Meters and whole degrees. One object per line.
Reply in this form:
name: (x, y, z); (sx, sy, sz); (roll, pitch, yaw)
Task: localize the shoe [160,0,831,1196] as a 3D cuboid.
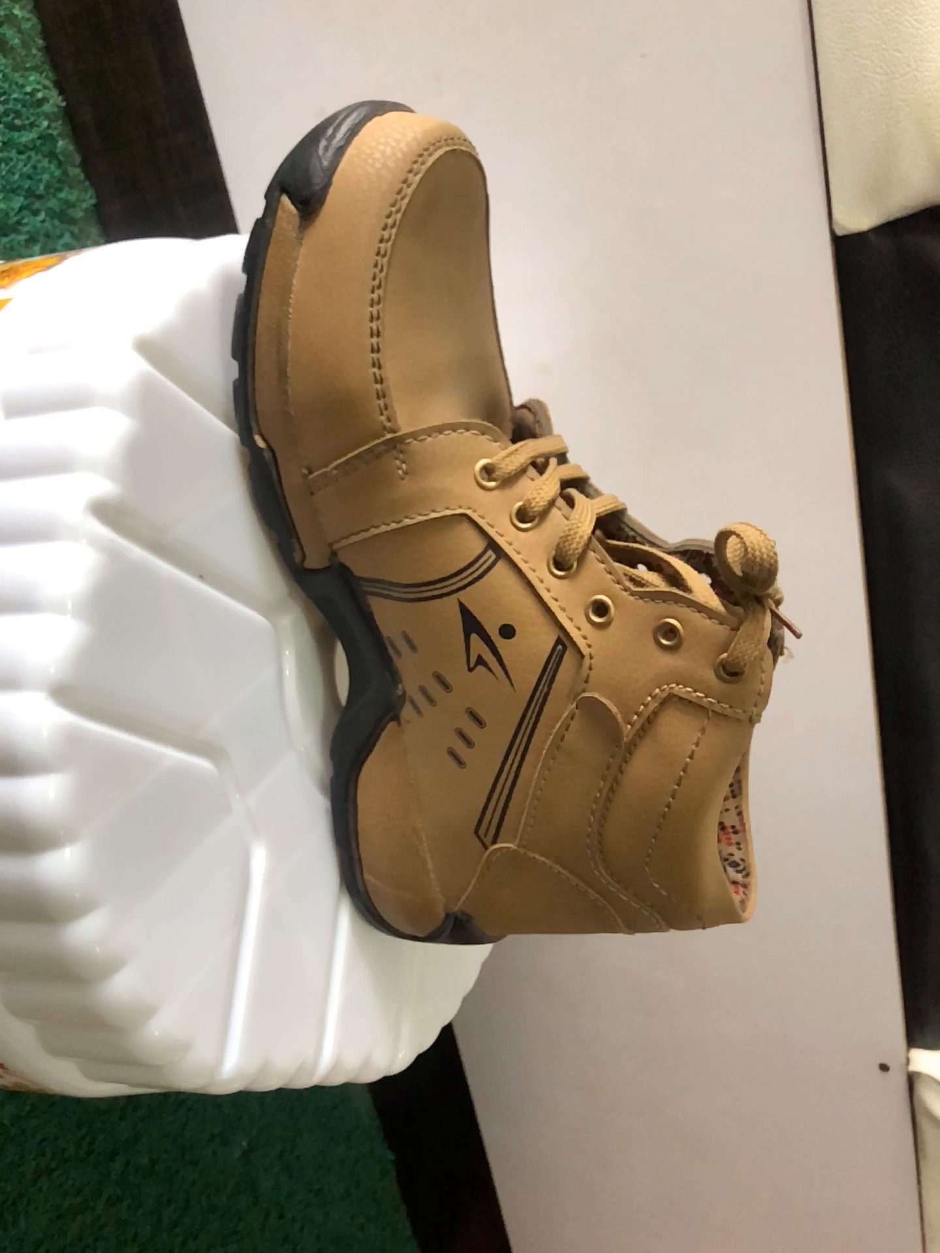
shoe: (0.029, -0.021, 0.310); (0.141, 0.109, 0.300); (-29, 113, -61)
